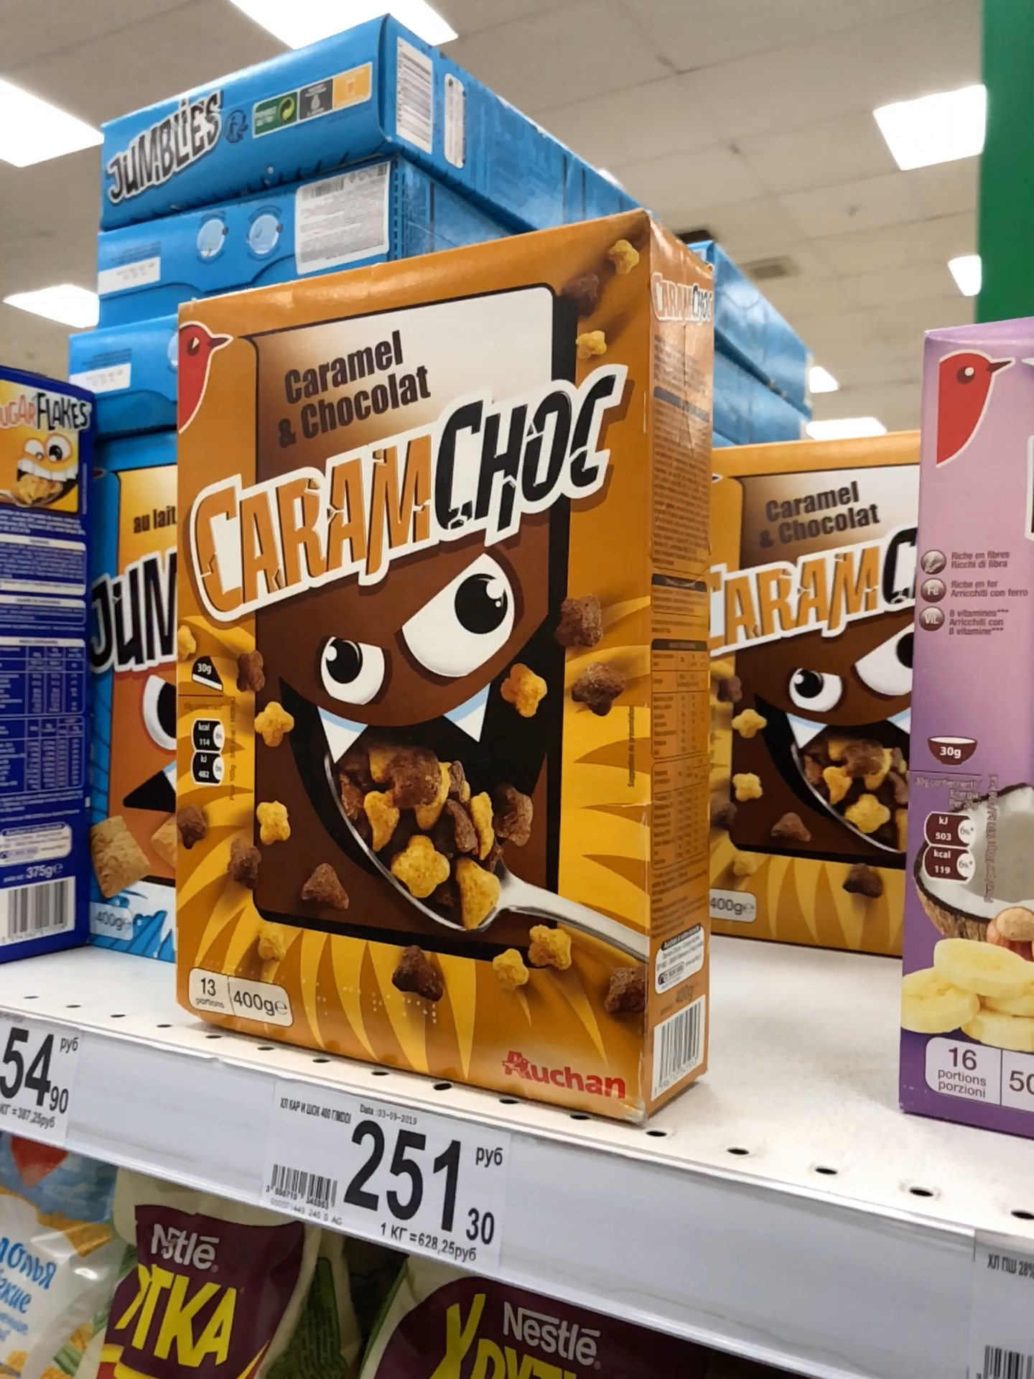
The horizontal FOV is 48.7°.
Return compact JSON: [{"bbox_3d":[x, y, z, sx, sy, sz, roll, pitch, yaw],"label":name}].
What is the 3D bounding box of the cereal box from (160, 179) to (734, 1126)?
[{"bbox_3d":[-0.031,-0.013,0.402,0.200,0.270,0.060,1,1,30],"label":"cereal box"}]
